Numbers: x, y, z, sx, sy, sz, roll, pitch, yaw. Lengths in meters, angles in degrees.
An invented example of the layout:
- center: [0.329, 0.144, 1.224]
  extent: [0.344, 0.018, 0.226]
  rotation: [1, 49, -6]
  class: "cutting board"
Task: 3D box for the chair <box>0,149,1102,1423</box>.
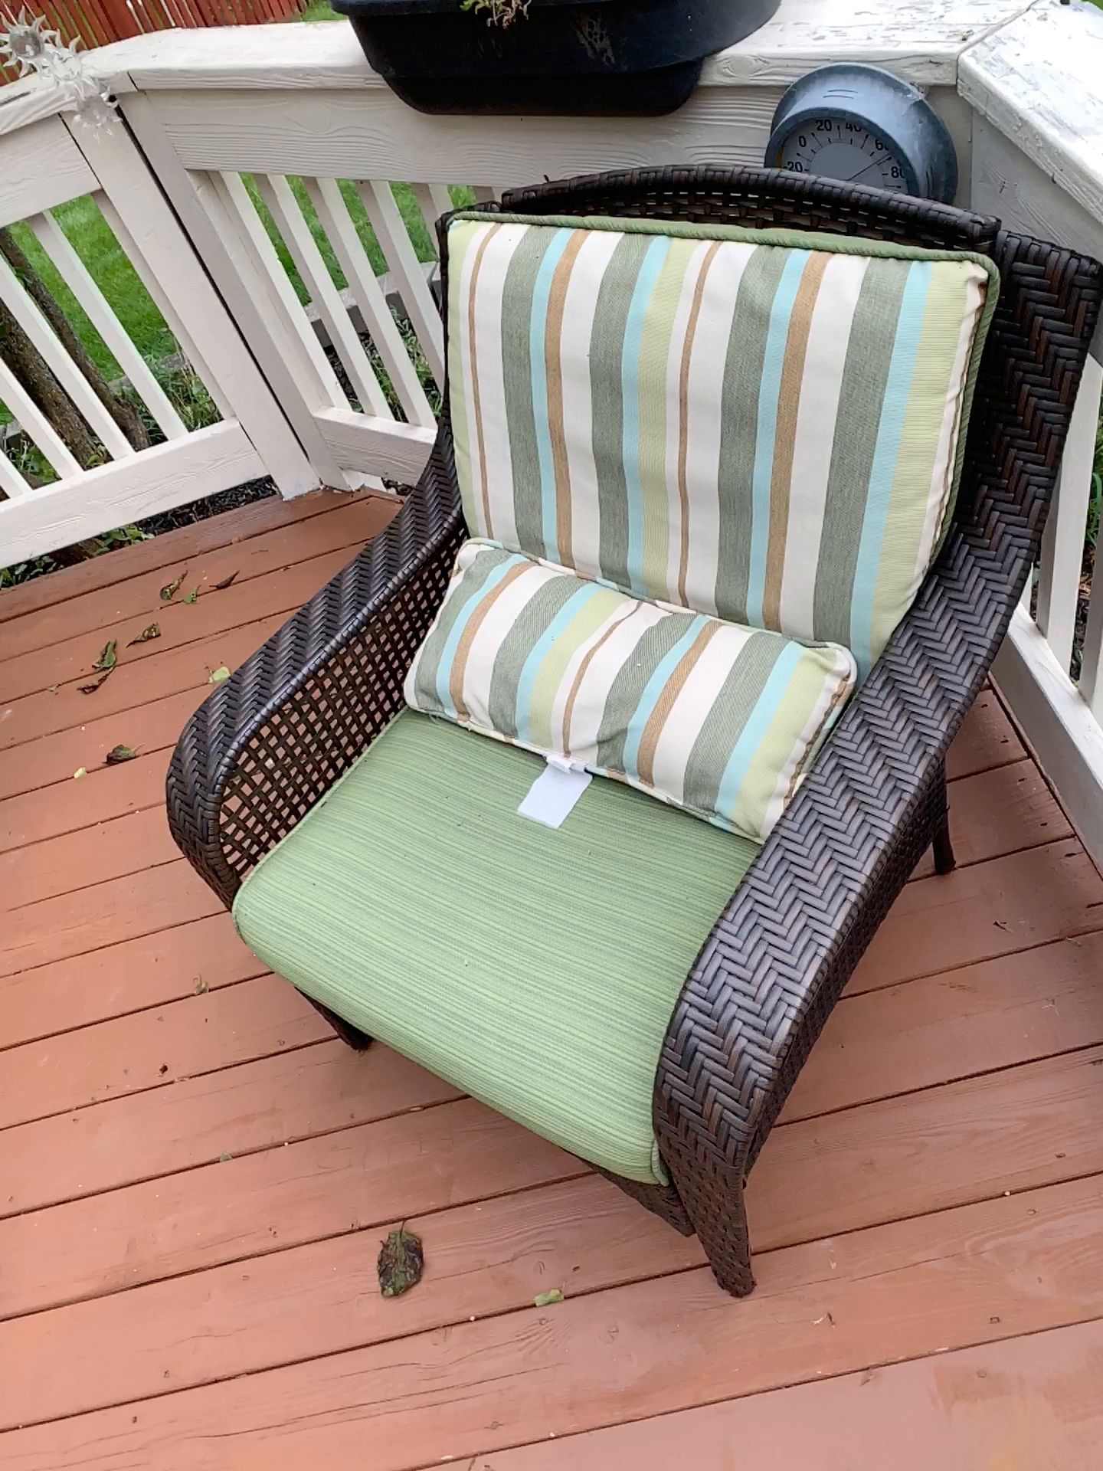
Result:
- center: [0.015, -0.003, 1.227]
  extent: [0.813, 0.825, 0.860]
  rotation: [21, 61, 34]
  class: "chair"
